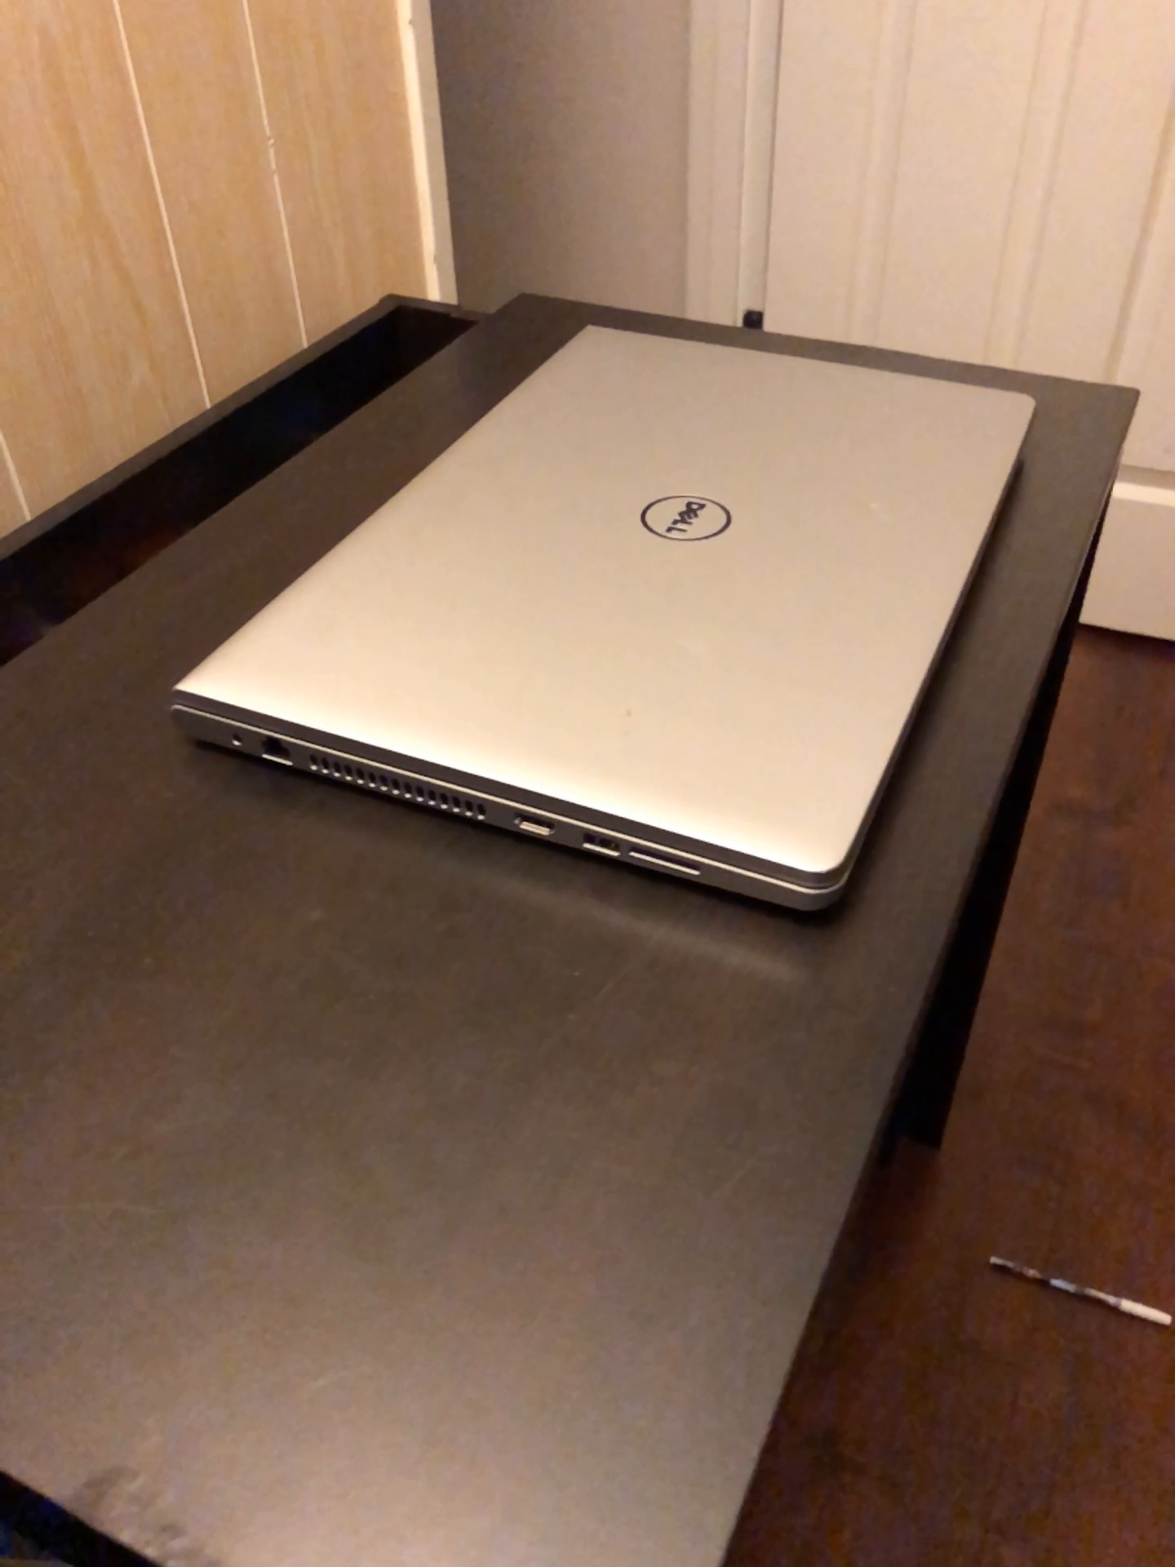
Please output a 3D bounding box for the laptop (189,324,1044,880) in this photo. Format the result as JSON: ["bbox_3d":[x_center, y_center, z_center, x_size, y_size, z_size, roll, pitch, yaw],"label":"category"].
[{"bbox_3d":[0.042,-0.116,0.567,0.249,0.003,0.372,16,44,18],"label":"laptop"}]
